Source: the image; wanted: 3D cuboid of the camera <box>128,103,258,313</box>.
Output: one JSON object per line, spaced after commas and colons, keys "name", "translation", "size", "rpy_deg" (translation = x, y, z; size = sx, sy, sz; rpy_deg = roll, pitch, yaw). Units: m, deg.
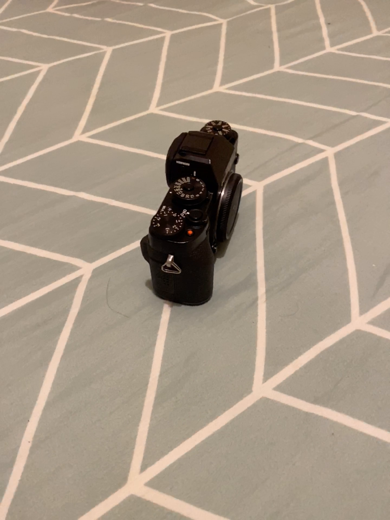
{"name": "camera", "translation": [0.004, -0.042, 0.309], "size": [0.051, 0.087, 0.131], "rpy_deg": [15, 54, 10]}
